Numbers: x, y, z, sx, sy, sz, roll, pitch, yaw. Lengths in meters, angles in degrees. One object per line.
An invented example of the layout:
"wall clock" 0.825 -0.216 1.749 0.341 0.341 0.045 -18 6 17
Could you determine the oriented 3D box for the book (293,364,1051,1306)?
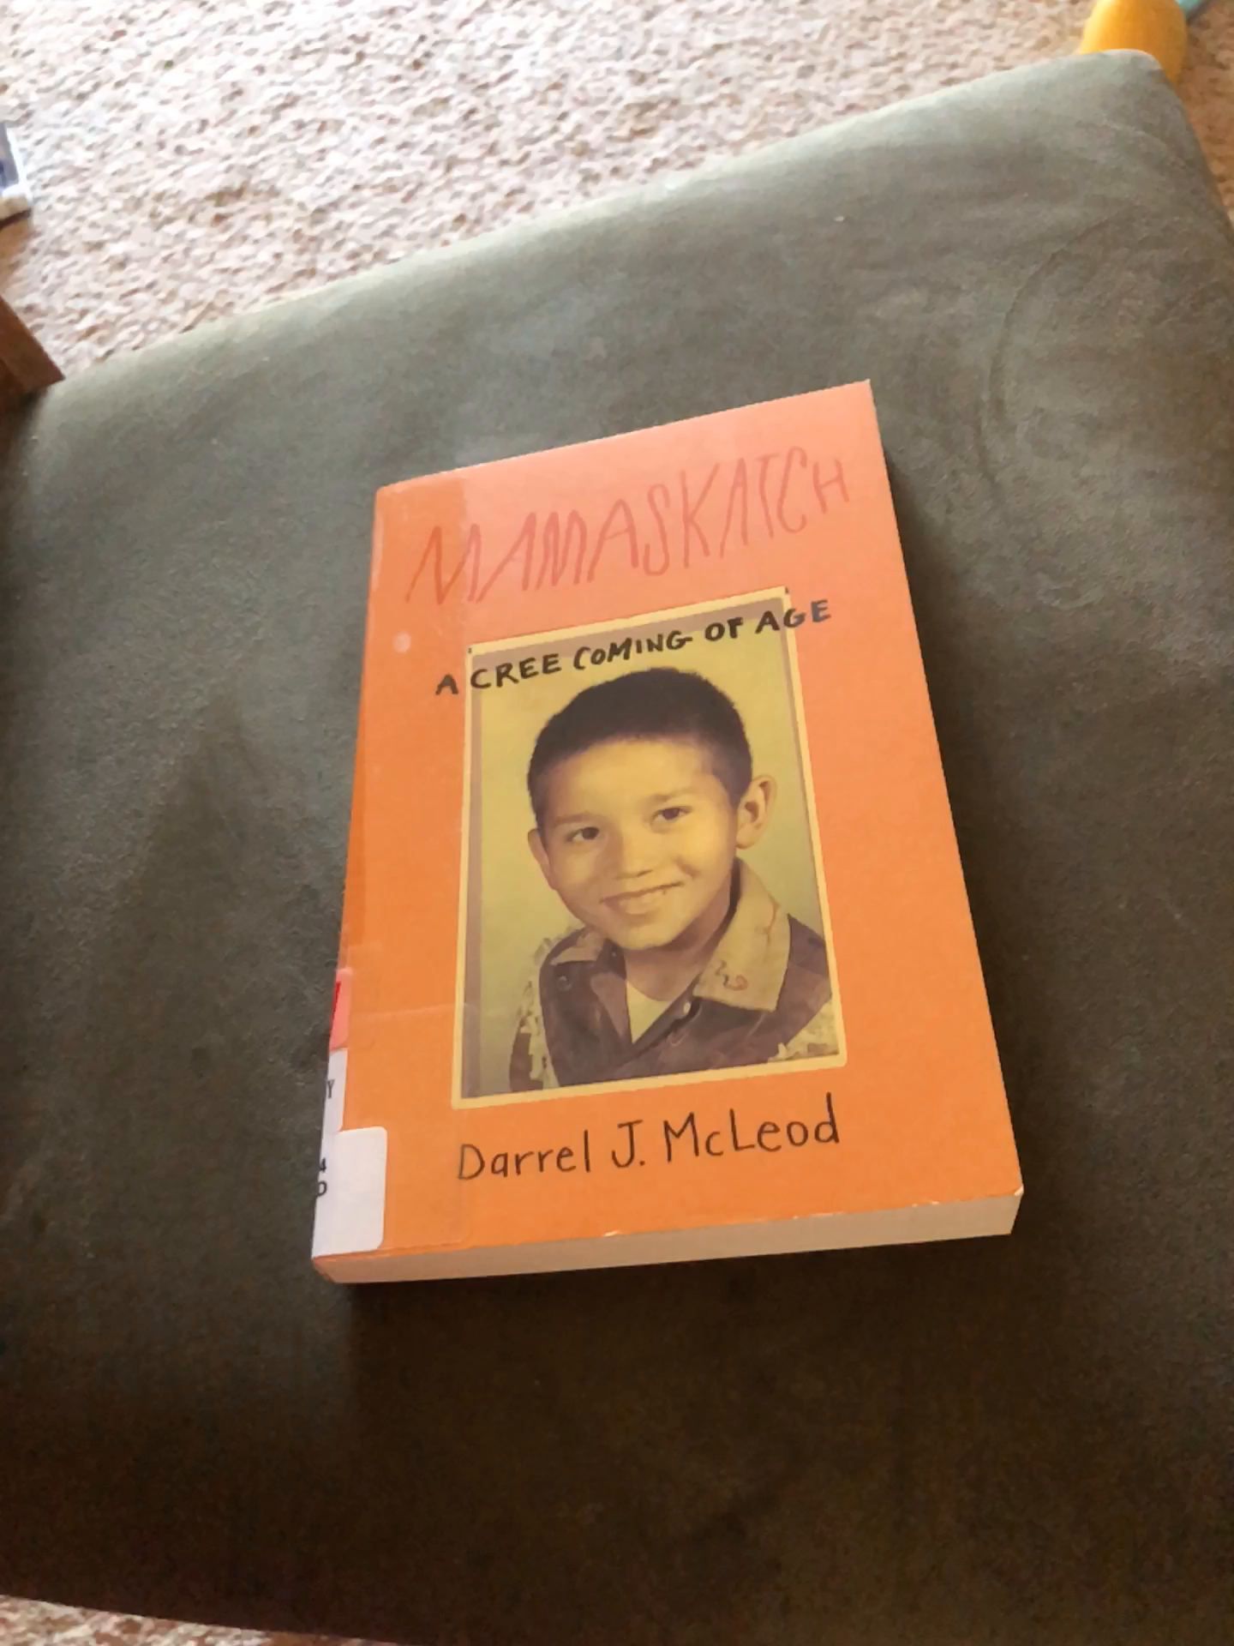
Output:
"book" 0.008 -0.005 0.336 0.150 0.040 0.218 -9 59 12
